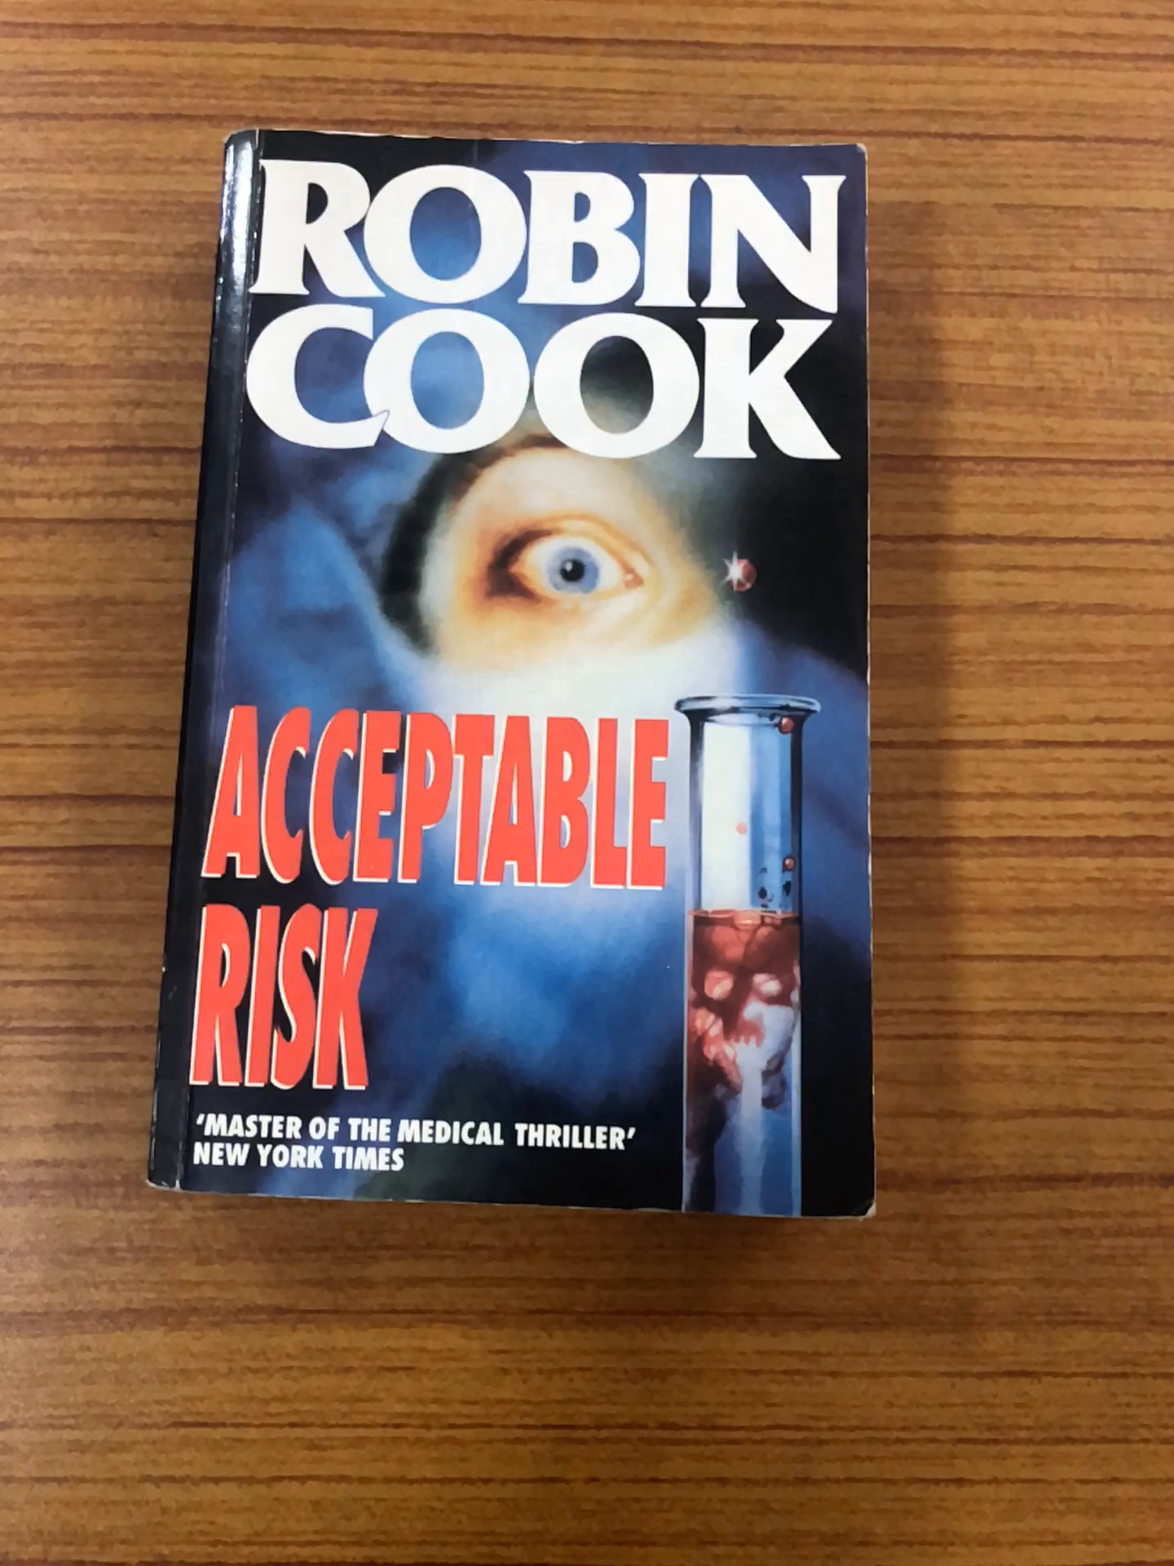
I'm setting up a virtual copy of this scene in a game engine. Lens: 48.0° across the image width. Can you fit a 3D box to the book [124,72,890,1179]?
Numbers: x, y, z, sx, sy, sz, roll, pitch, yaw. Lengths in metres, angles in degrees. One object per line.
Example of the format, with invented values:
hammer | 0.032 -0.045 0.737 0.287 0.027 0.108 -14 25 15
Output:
book | -0.009 -0.026 0.222 0.110 0.040 0.170 2 82 -1
